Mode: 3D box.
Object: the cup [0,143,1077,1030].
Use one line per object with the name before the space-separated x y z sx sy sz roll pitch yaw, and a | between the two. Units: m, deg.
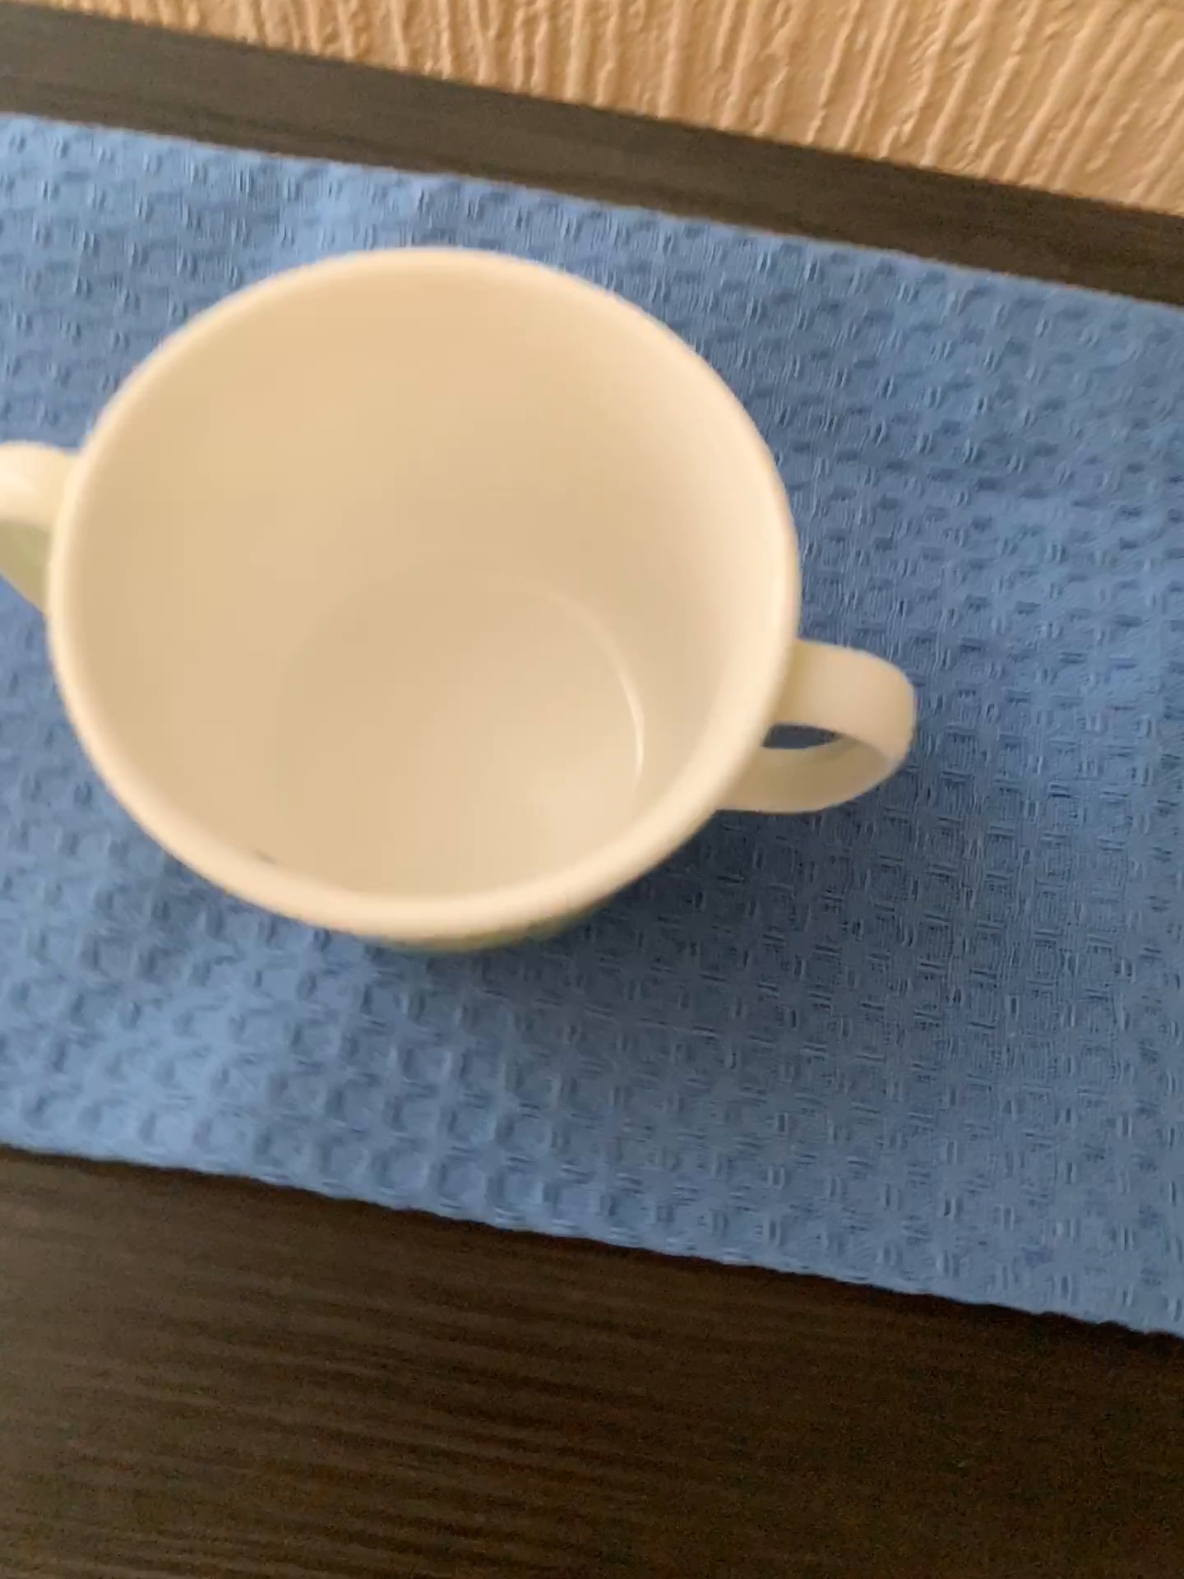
cup | -0.009 -0.020 0.171 0.120 0.070 0.080 12 75 0
